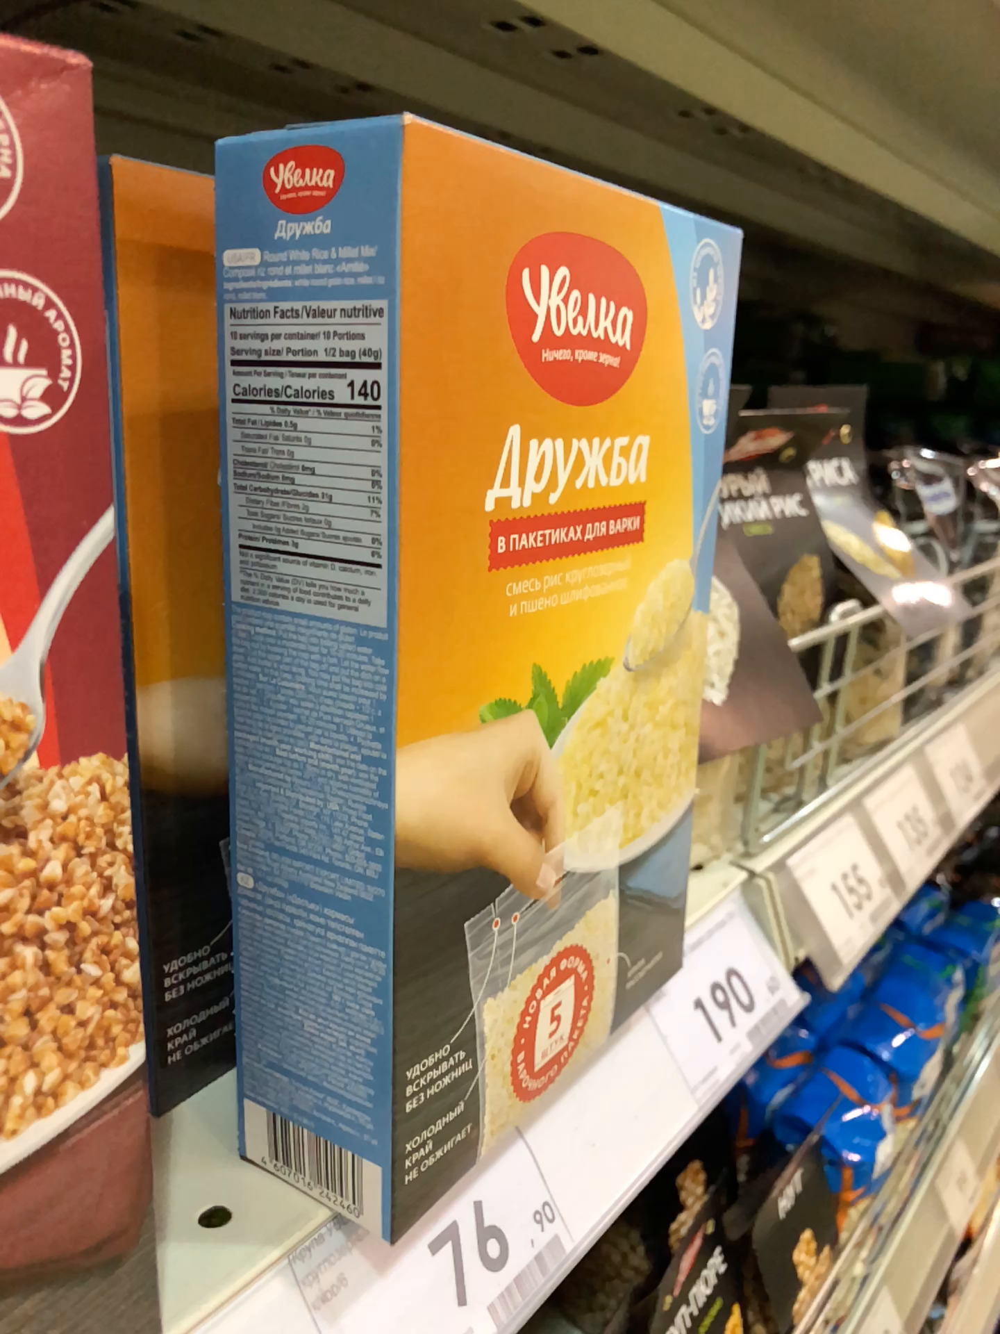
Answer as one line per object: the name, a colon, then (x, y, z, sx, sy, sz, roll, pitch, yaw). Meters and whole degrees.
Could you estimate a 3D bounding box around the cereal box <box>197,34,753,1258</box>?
cereal box: (0.002, -0.007, 0.233, 0.040, 0.189, 0.130, 10, 15, 31)
